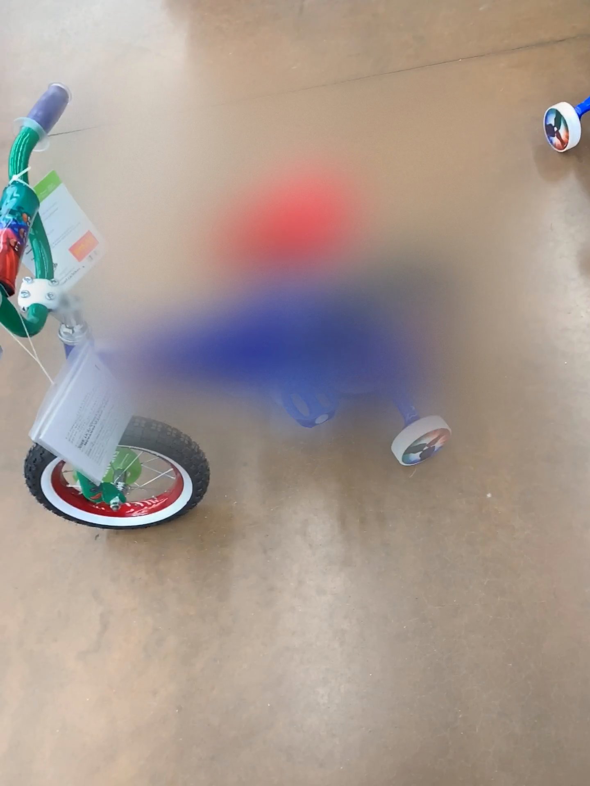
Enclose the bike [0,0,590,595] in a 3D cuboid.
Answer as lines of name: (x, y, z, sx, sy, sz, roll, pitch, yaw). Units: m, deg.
bike: (-0.121, -0.139, 0.936, 0.793, 0.695, 0.466, -24, 57, -3)
